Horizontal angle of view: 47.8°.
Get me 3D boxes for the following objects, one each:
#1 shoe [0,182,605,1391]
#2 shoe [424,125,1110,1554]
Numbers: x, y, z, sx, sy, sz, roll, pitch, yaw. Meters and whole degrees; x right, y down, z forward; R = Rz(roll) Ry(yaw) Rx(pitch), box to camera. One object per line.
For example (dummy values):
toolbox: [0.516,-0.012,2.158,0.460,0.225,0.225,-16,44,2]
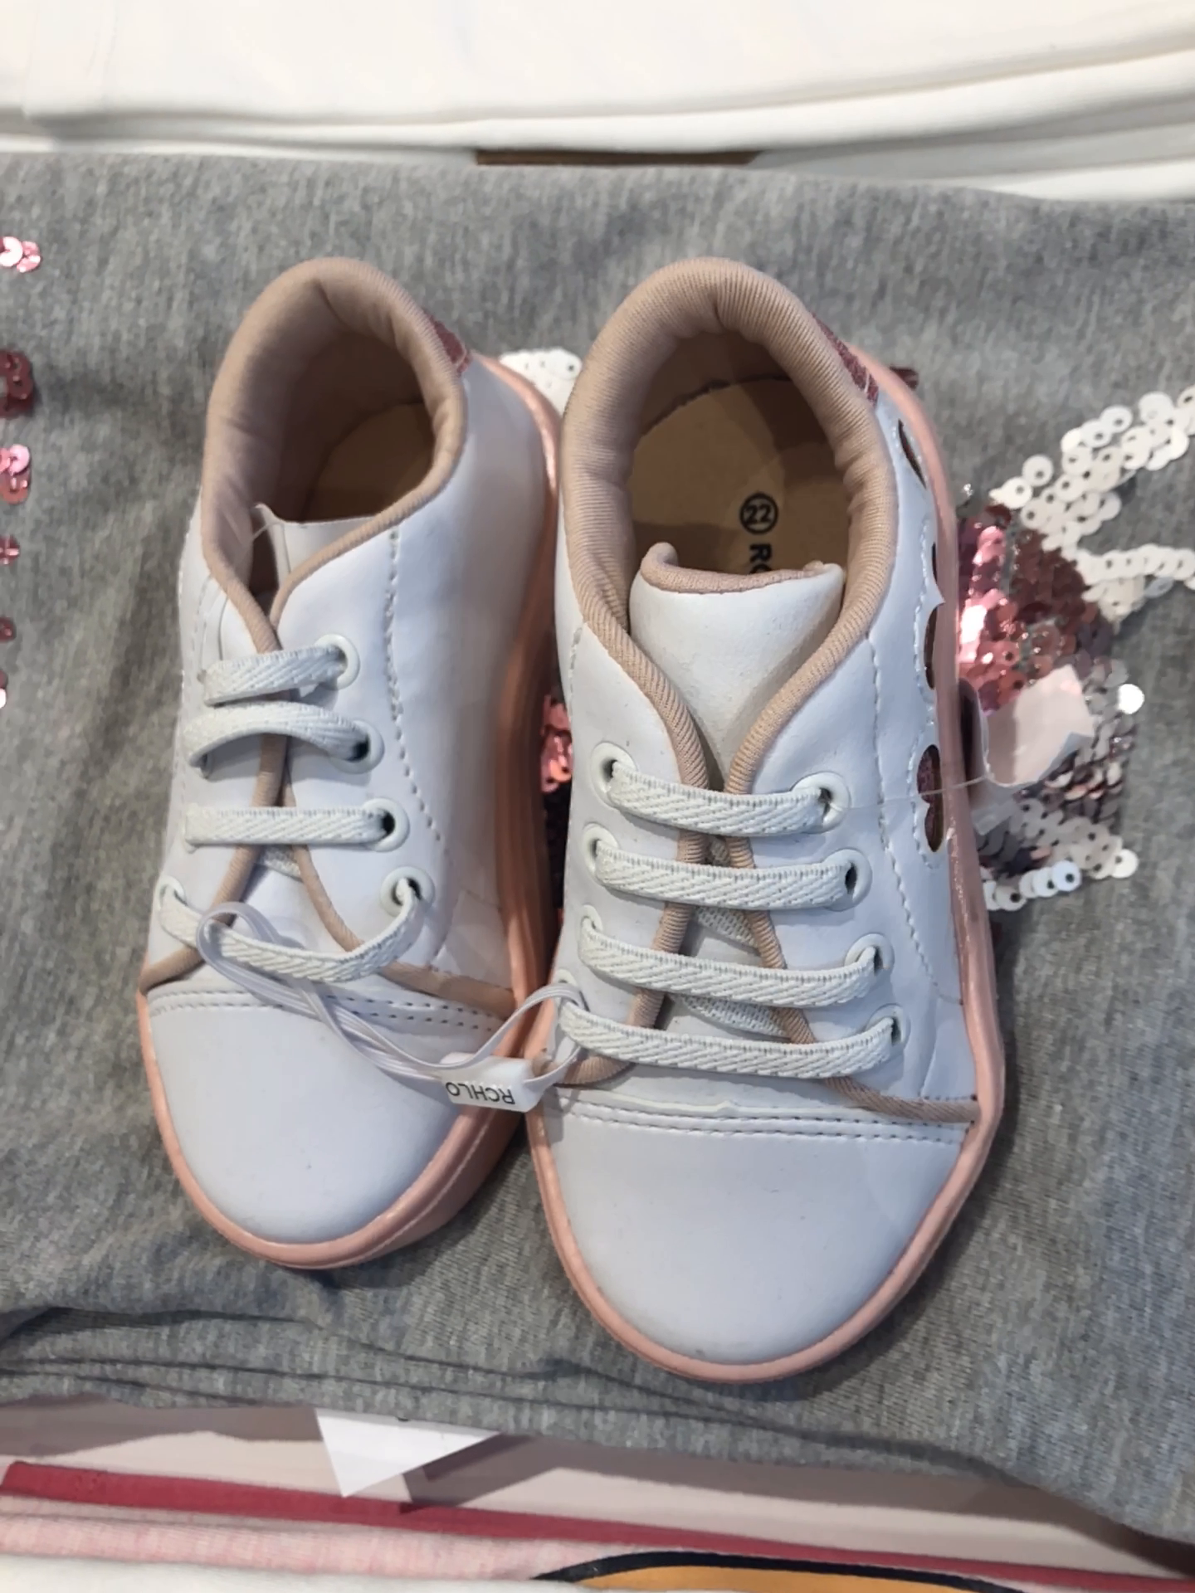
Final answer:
shoe: [-0.045,-0.003,0.208,0.070,0.070,0.150,5,89,8]
shoe: [0.021,0.004,0.180,0.070,0.070,0.150,0,85,7]
